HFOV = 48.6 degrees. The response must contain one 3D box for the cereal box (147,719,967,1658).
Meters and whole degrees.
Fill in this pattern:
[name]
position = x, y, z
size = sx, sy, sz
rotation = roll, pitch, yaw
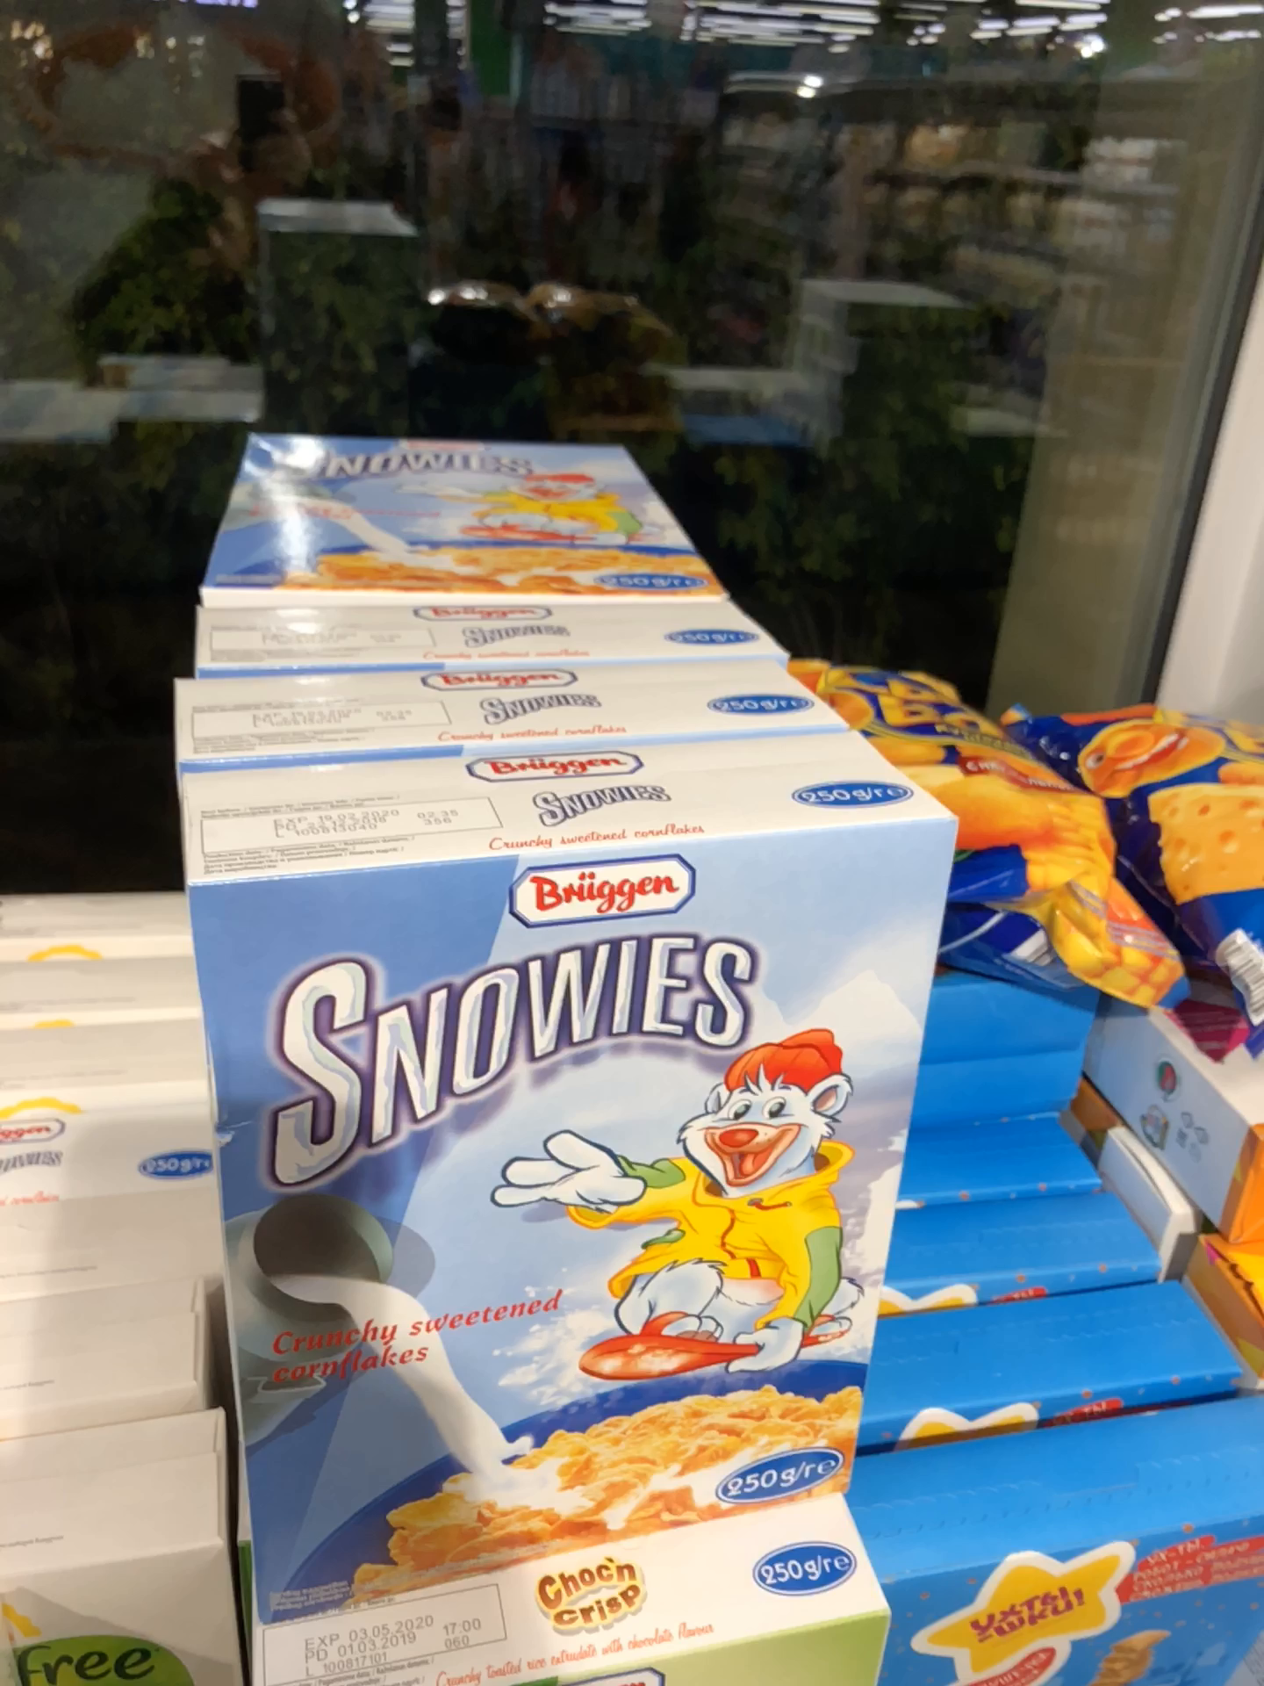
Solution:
[cereal box]
position = -0.026, 0.102, 0.419
size = 0.200, 0.259, 0.070
rotation = -4, 26, -16
